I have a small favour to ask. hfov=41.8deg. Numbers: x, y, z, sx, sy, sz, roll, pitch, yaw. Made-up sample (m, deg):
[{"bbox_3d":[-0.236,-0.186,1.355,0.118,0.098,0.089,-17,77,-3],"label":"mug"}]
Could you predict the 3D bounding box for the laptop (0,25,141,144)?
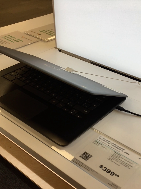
[{"bbox_3d":[-0.064,-0.049,0.459,0.331,0.121,0.211,29,51,27],"label":"laptop"}]
